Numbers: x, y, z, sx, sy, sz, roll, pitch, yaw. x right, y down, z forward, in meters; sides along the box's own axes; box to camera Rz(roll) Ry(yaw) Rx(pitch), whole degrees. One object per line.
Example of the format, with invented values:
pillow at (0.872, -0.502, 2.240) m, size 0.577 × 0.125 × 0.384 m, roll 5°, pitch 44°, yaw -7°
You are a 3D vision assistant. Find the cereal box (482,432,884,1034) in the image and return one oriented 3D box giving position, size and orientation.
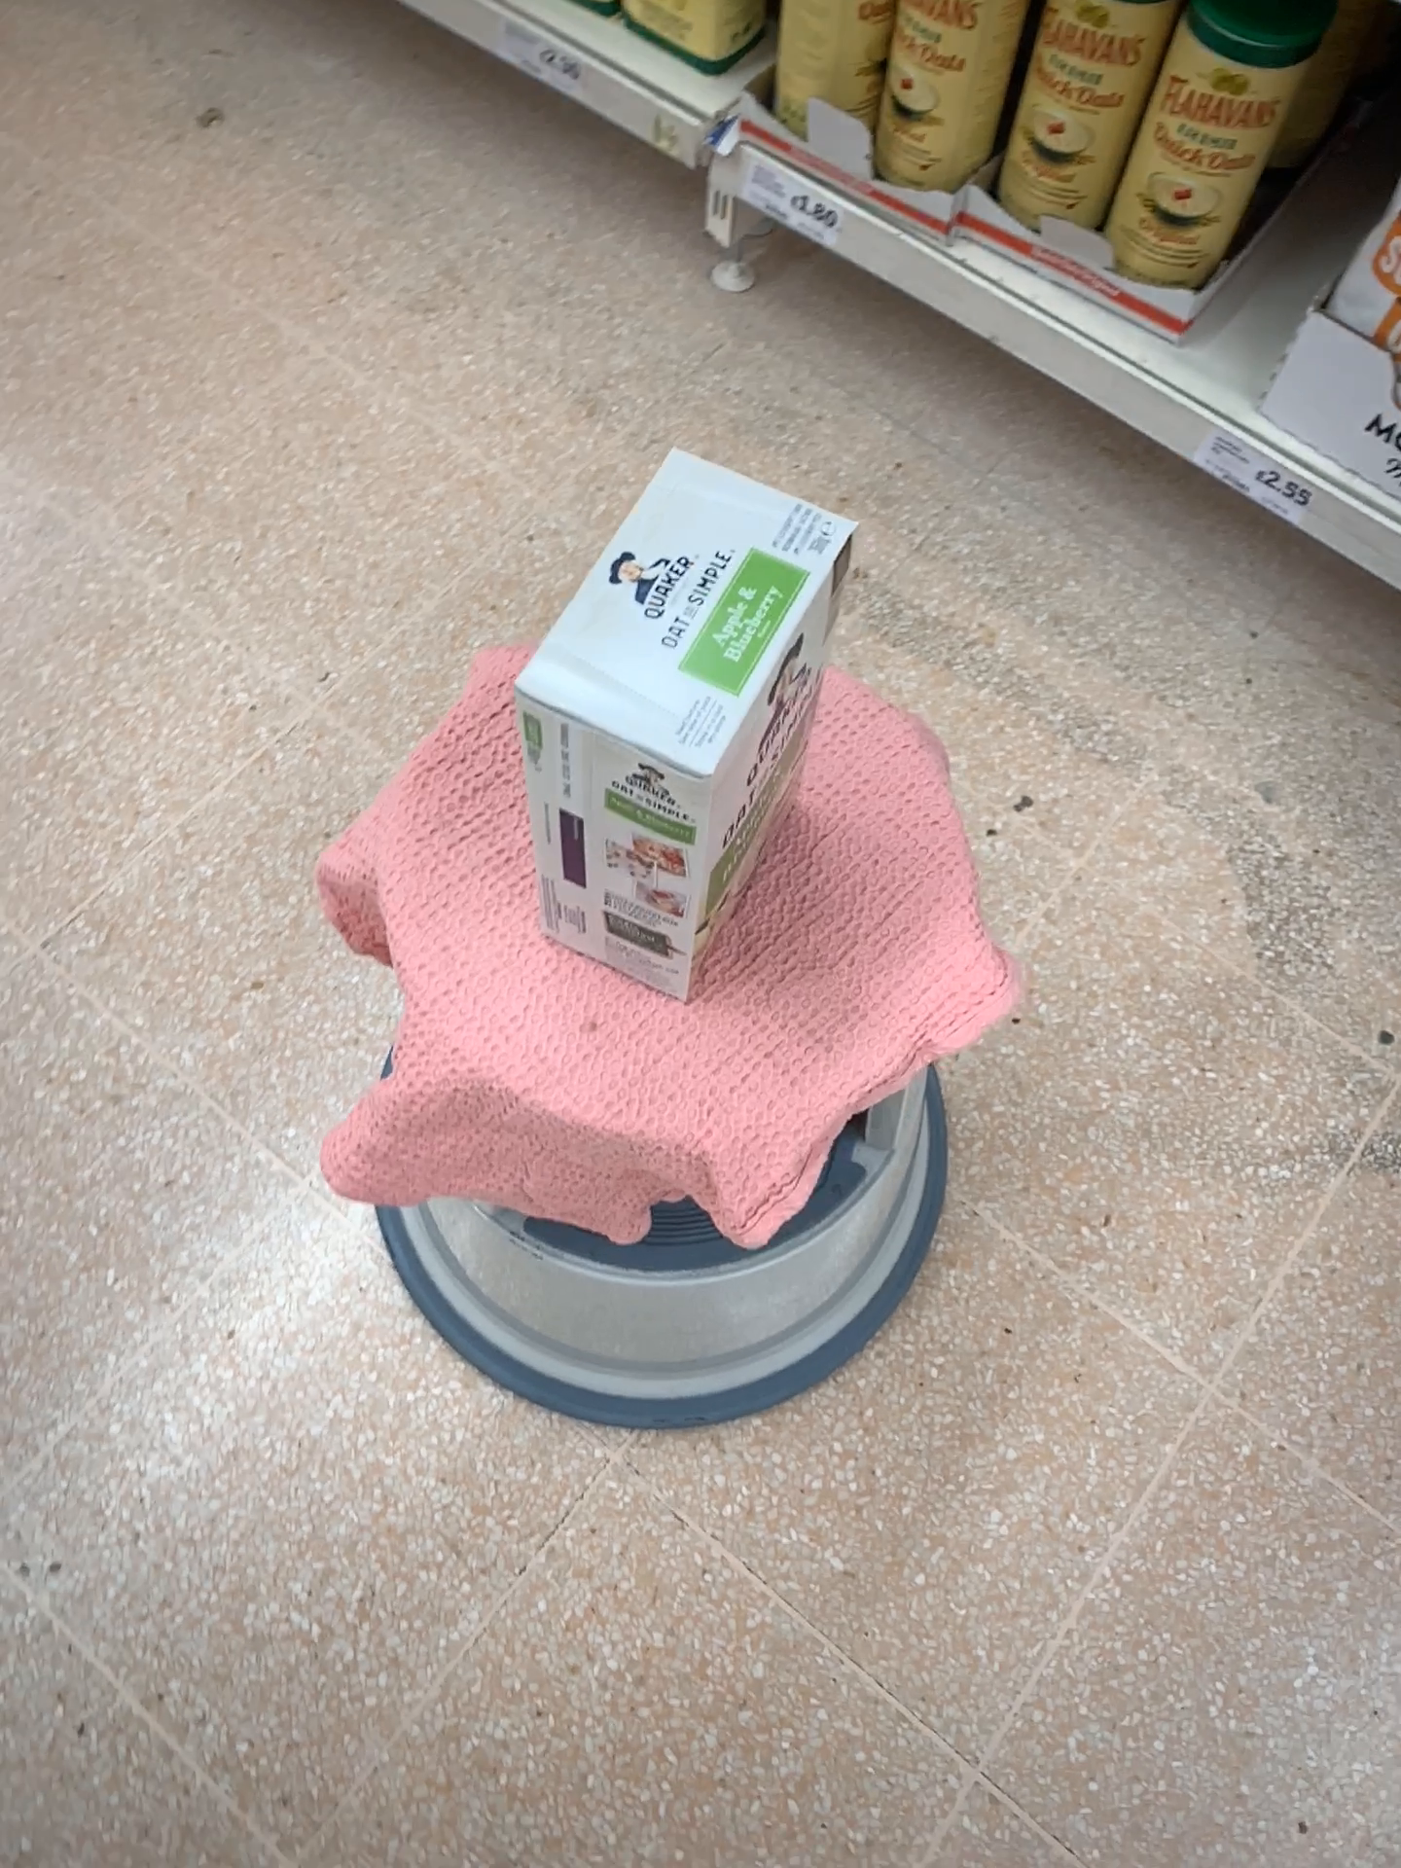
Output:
cereal box at (-0.008, -0.073, 0.608) m, size 0.090 × 0.209 × 0.141 m, roll 26°, pitch 66°, yaw 9°
